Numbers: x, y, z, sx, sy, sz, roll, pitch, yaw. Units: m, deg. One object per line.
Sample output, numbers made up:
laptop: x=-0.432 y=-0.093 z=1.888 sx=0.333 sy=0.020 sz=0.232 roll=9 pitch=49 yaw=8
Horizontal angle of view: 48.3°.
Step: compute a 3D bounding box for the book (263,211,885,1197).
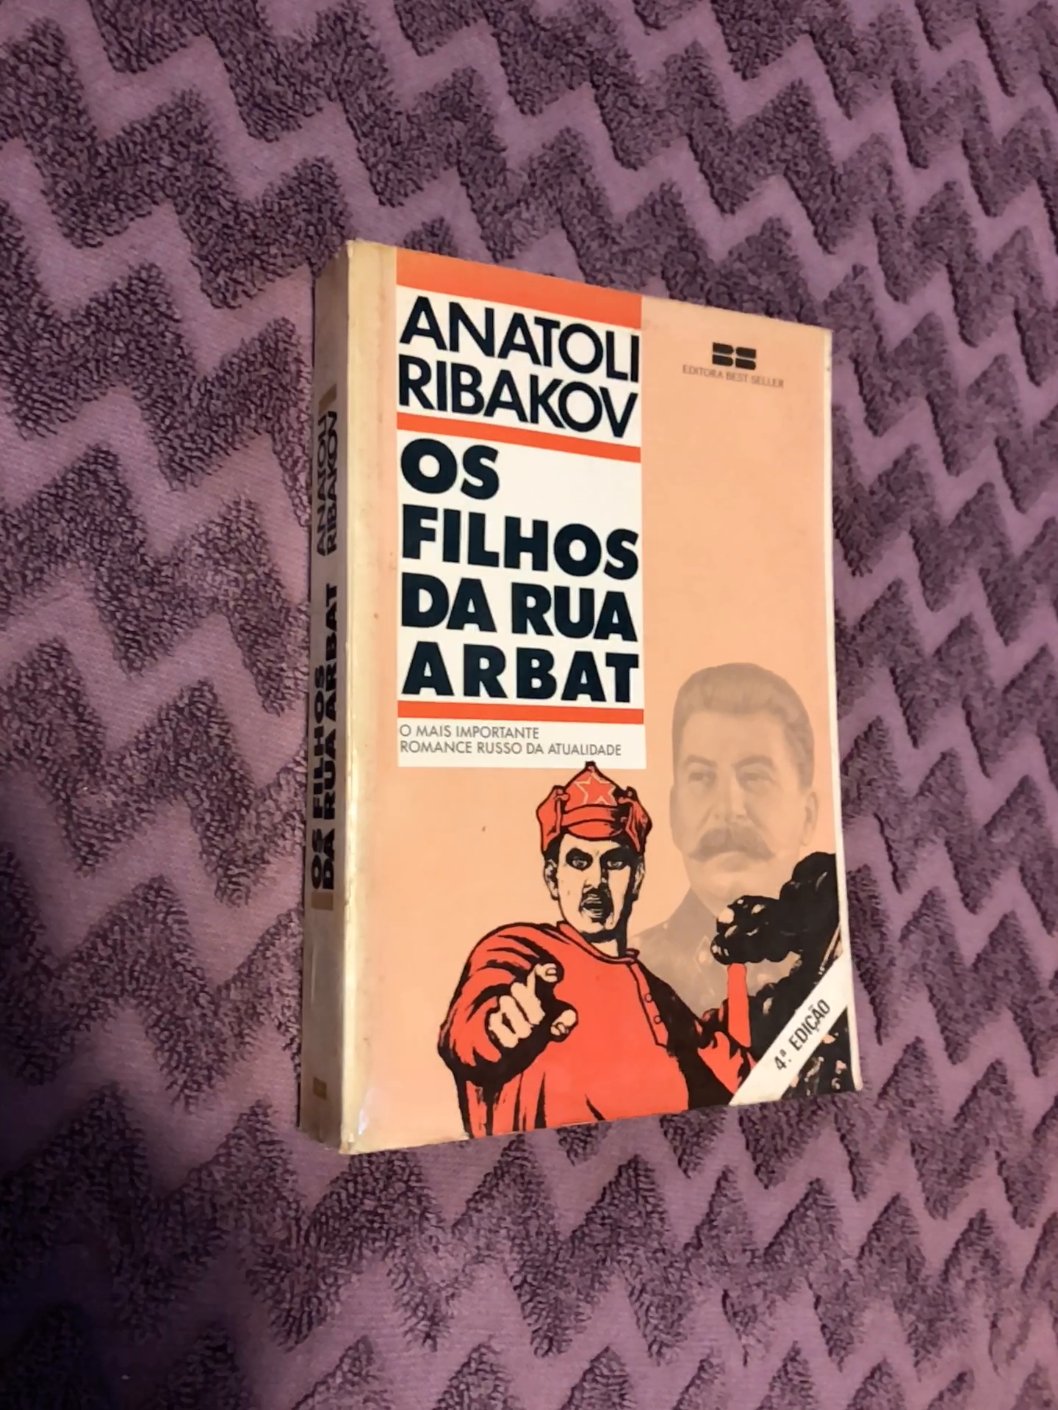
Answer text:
book: x=0.013 y=0.000 z=0.275 sx=0.141 sy=0.040 sz=0.190 roll=1 pitch=87 yaw=-26
